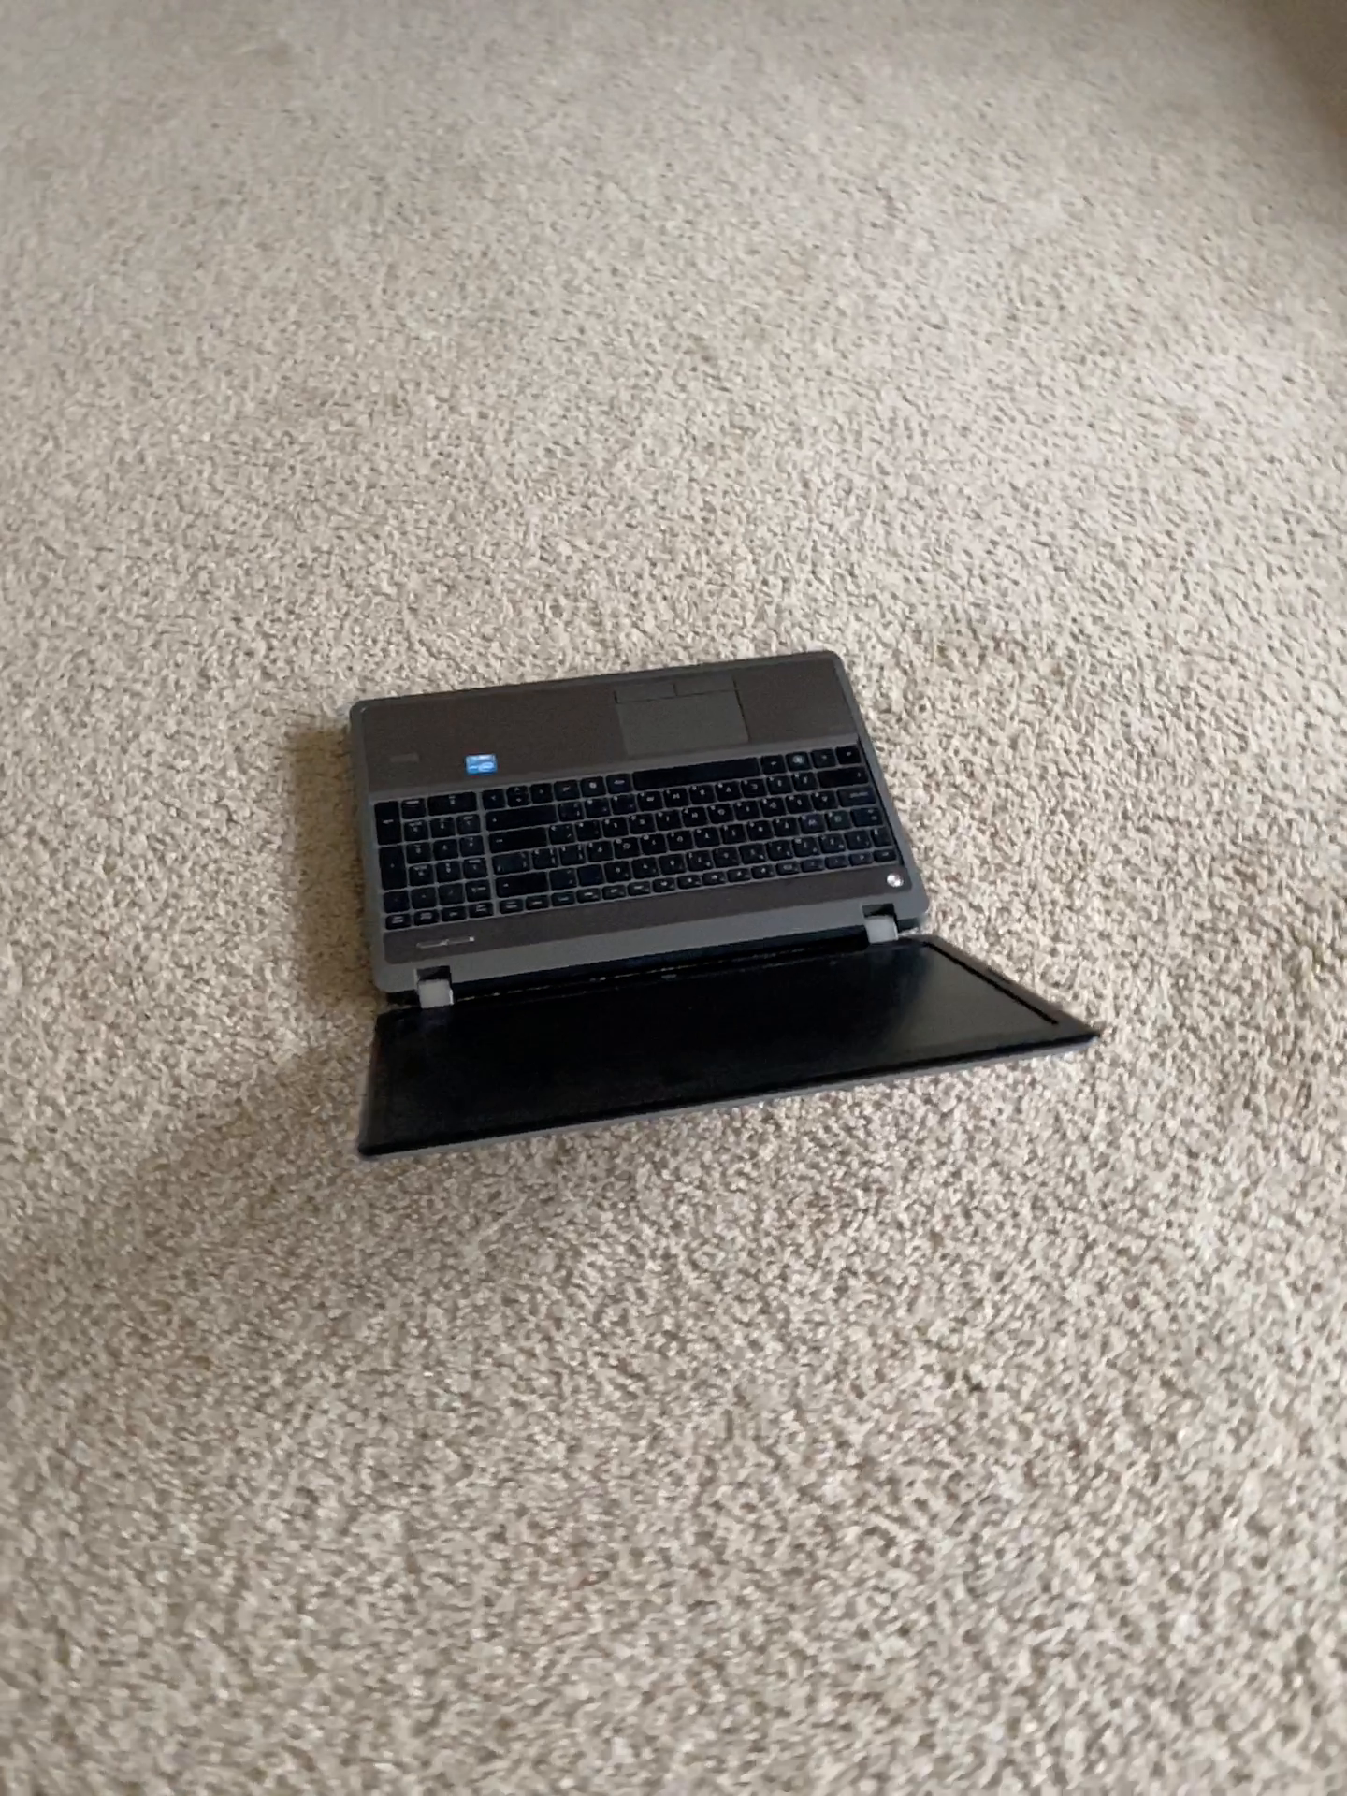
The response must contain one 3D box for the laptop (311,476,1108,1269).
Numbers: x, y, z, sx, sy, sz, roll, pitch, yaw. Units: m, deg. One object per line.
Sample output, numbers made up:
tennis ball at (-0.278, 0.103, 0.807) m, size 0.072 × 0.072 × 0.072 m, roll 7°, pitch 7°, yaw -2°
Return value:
laptop at (-0.009, -0.040, 0.849) m, size 0.374 × 0.162 × 0.436 m, roll -8°, pitch 56°, yaw -8°
